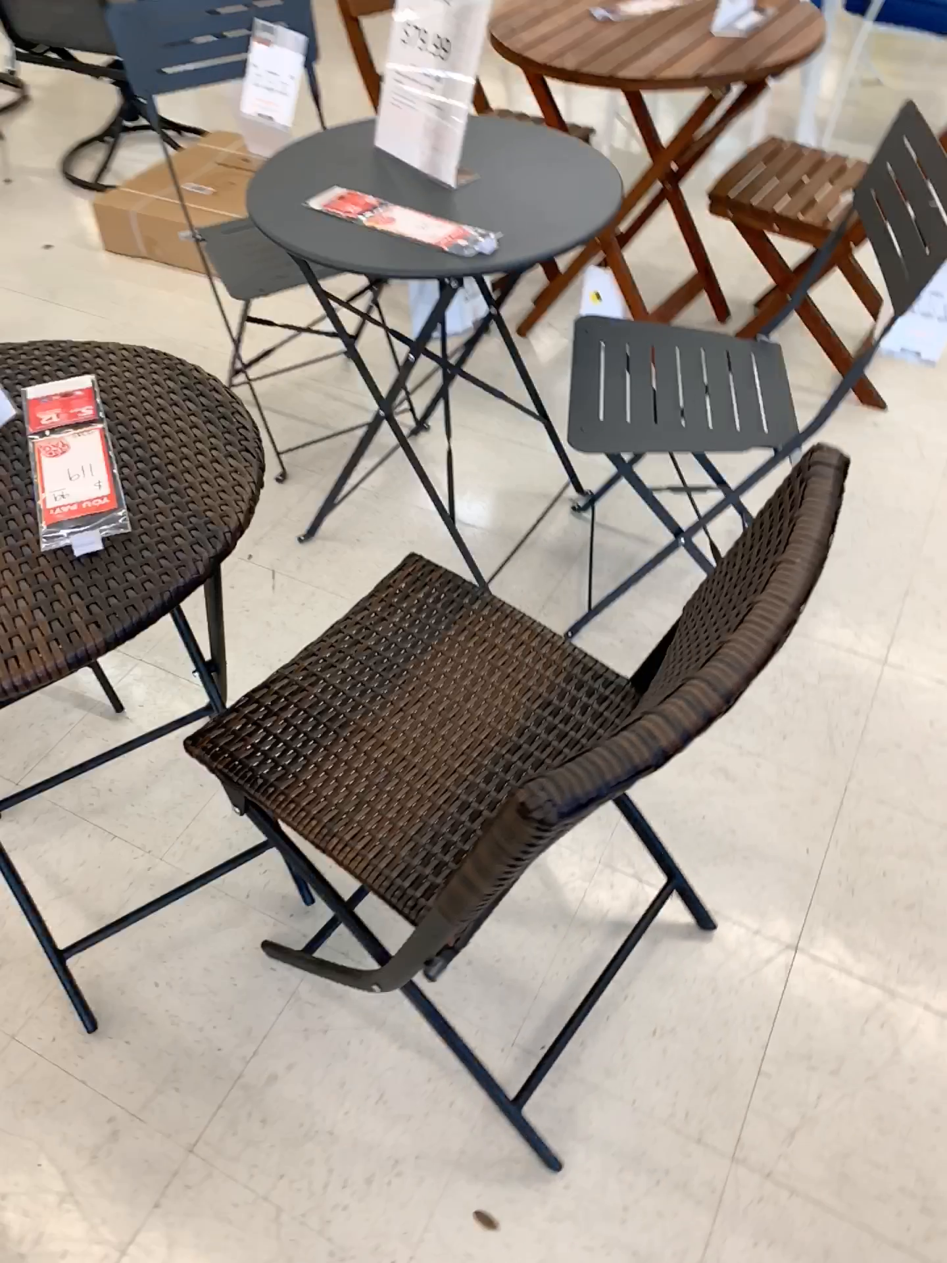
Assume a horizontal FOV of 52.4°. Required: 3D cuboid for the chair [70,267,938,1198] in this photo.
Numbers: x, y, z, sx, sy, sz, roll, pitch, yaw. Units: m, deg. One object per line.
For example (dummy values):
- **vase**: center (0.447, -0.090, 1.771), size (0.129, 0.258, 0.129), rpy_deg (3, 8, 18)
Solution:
- **chair**: center (0.039, 0.133, 1.054), size (0.511, 0.767, 0.481), rpy_deg (29, 54, 25)
